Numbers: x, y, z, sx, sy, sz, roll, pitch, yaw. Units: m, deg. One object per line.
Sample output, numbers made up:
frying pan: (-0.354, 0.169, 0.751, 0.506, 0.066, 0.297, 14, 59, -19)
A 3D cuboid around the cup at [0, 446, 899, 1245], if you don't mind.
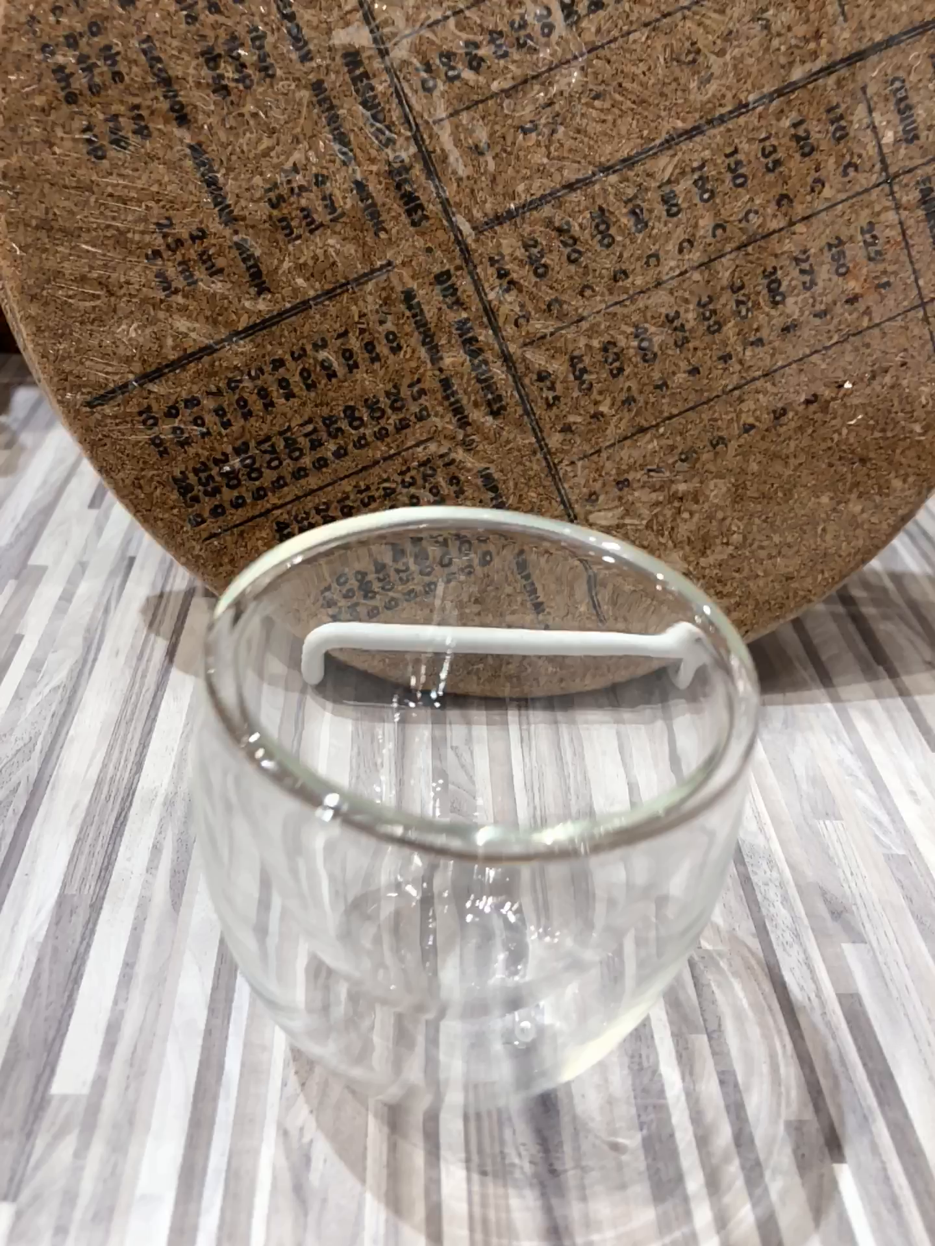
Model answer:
cup: (0.001, 0.024, 0.125, 0.070, 0.050, 0.070, 4, 35, -3)
